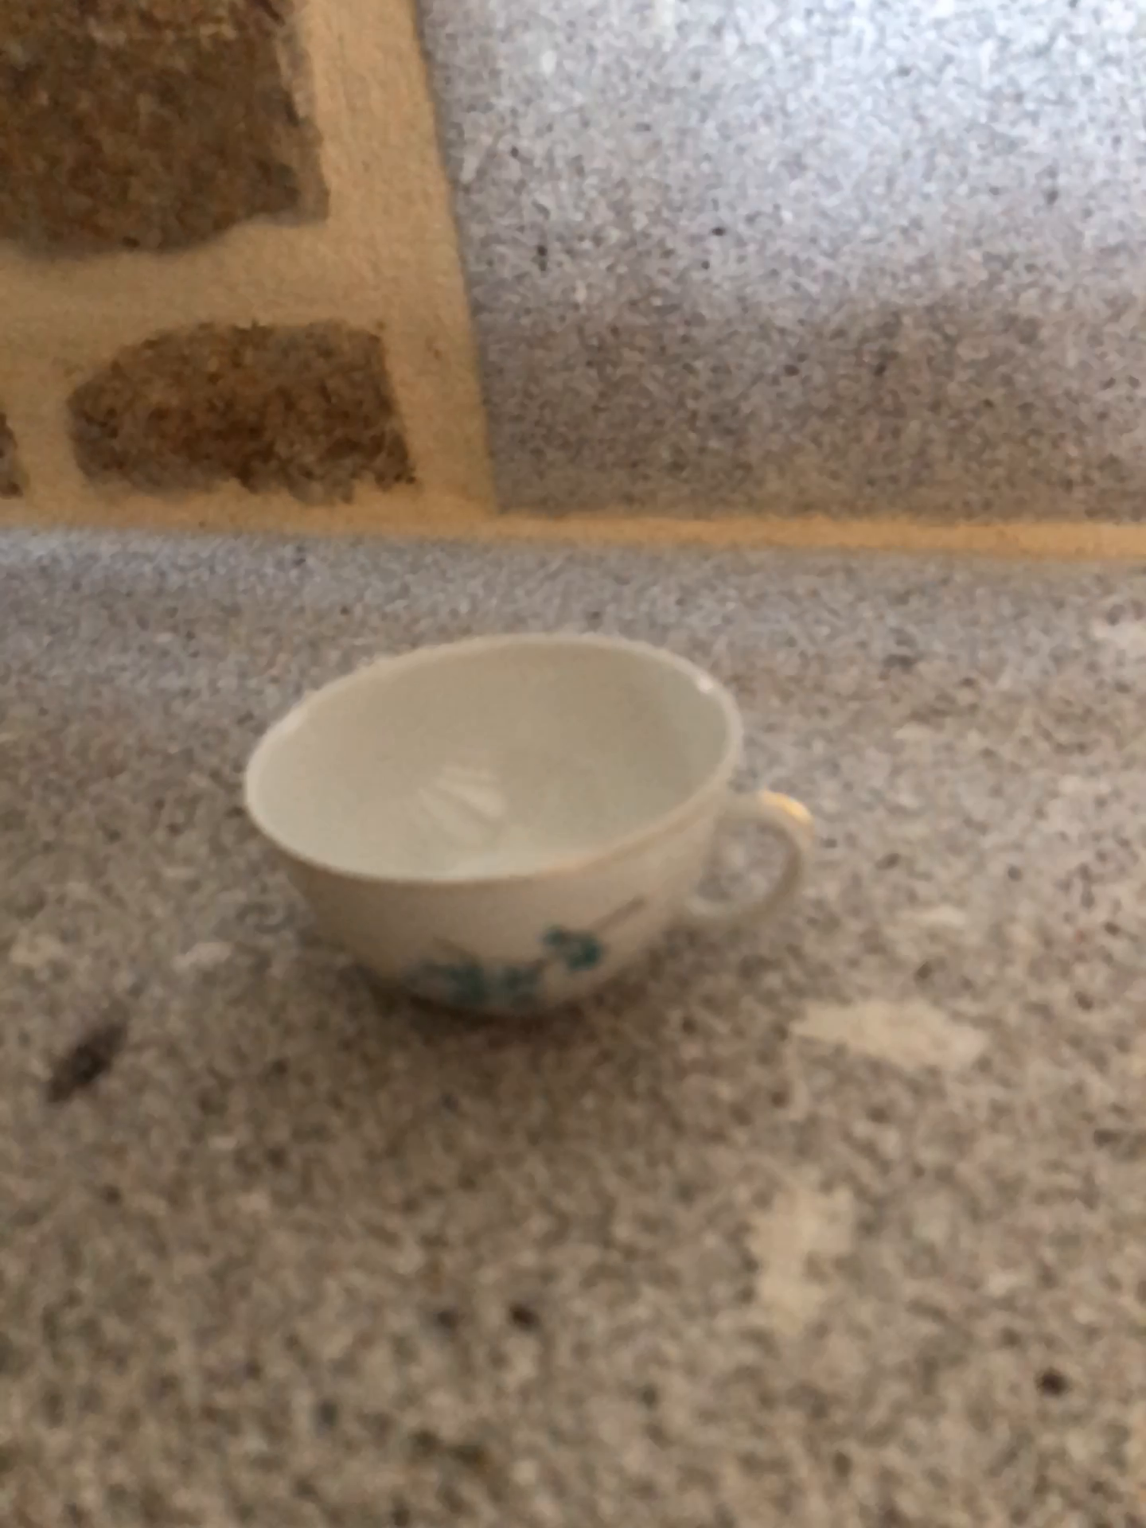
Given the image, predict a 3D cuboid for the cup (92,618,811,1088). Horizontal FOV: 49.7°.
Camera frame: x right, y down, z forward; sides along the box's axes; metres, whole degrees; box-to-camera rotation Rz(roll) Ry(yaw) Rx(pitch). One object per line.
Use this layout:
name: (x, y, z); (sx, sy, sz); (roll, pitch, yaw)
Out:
cup: (-0.012, 0.010, 0.231); (0.110, 0.040, 0.091); (0, 30, 11)
